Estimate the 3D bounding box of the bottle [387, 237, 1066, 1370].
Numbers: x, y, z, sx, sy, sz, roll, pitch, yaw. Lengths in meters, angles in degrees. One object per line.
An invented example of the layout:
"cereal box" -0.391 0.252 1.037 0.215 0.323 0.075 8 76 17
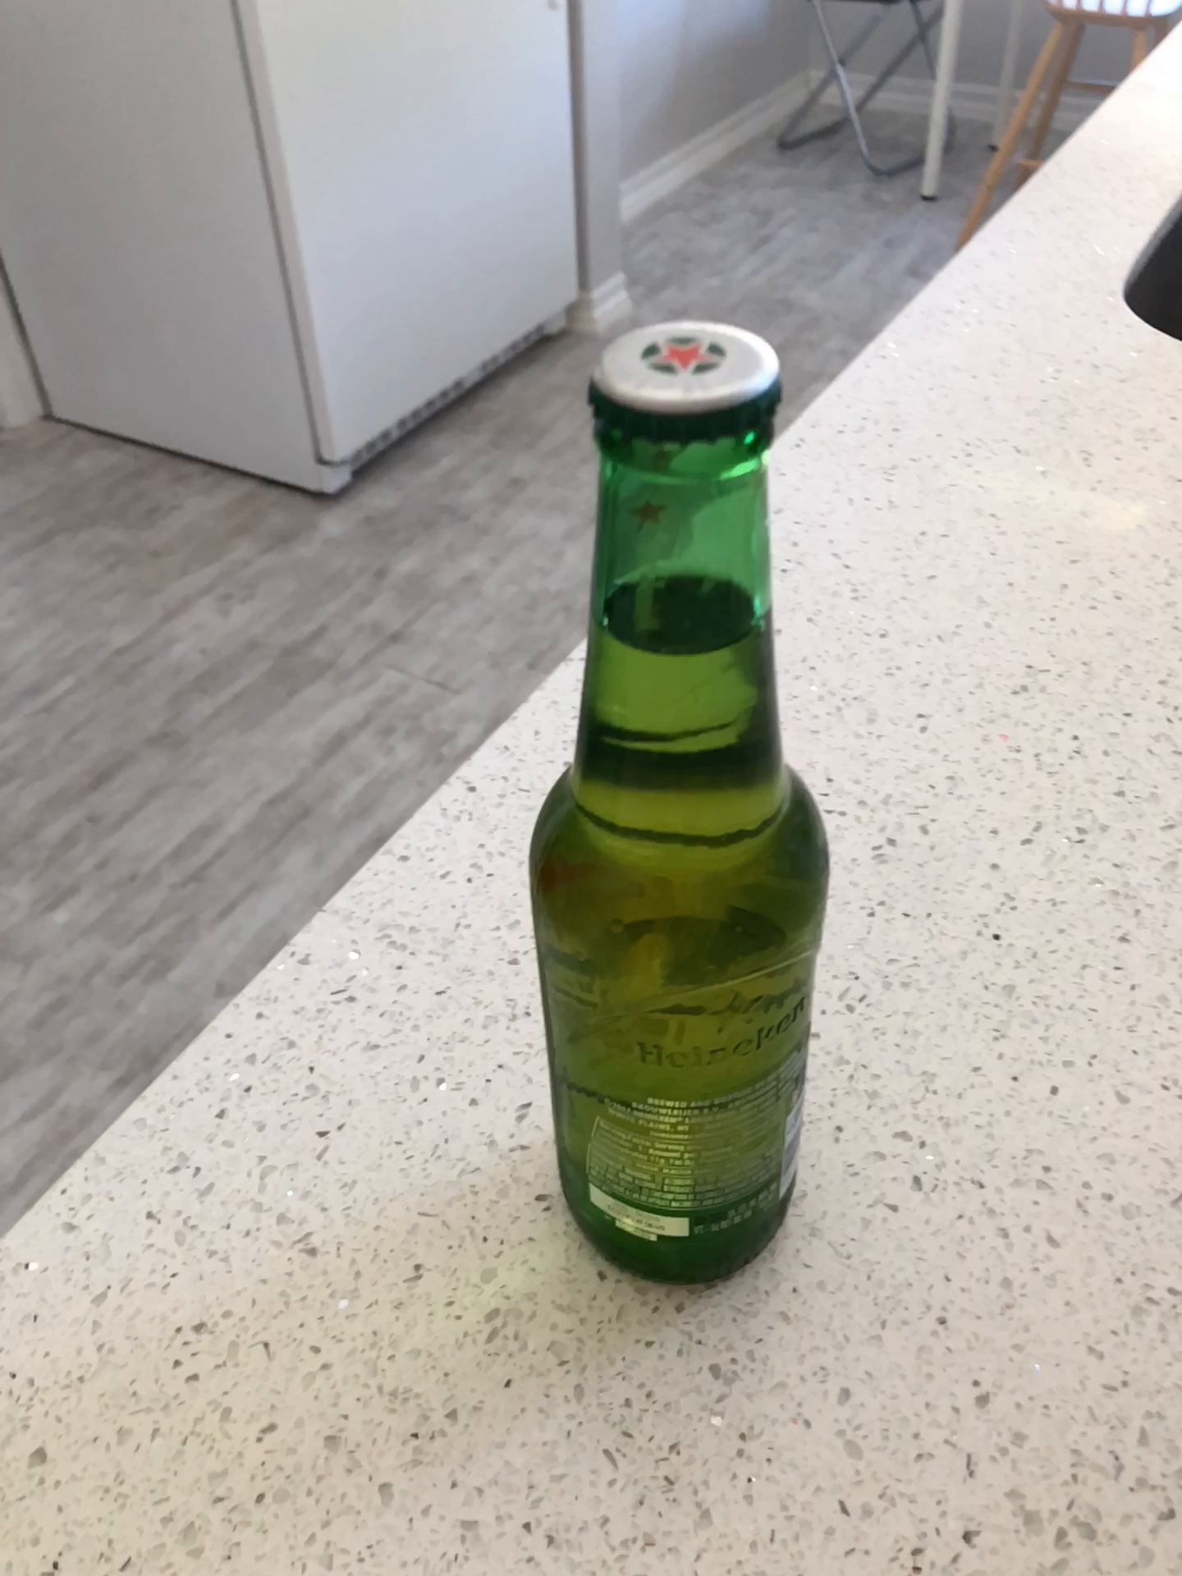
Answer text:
"bottle" 0.019 0.019 0.251 0.070 0.209 0.070 -2 42 2
